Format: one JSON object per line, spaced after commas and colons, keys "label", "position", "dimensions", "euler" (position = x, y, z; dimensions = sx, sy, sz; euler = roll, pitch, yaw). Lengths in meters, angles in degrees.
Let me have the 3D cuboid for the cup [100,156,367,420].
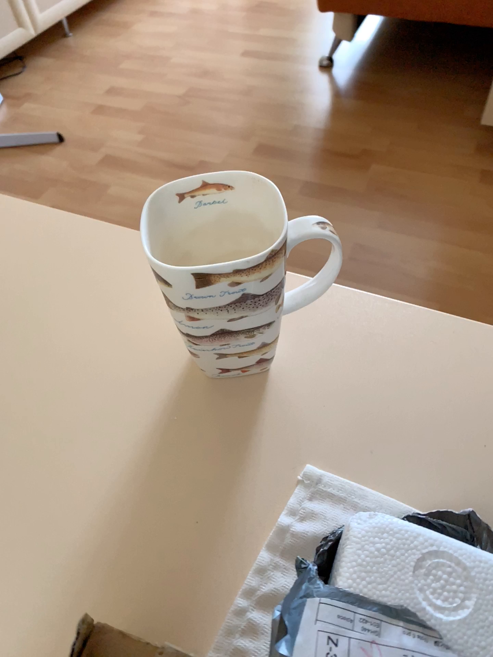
{"label": "cup", "position": [-0.006, -0.023, 0.346], "dimensions": [0.140, 0.129, 0.101], "euler": [-8, 51, 0]}
